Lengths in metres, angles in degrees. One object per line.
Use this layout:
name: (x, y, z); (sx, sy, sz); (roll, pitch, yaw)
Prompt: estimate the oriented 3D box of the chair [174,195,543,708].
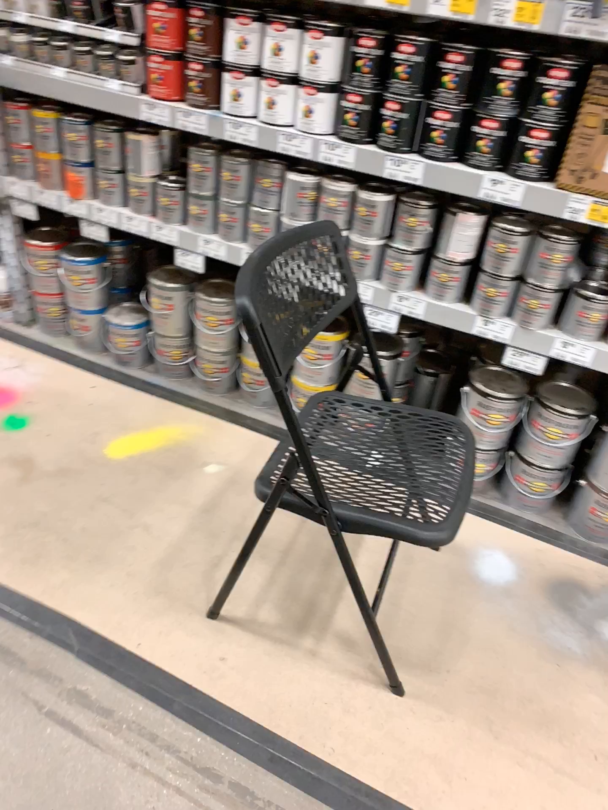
chair: (0.096, 0.086, 1.307); (0.515, 0.814, 0.521); (17, 37, 14)
